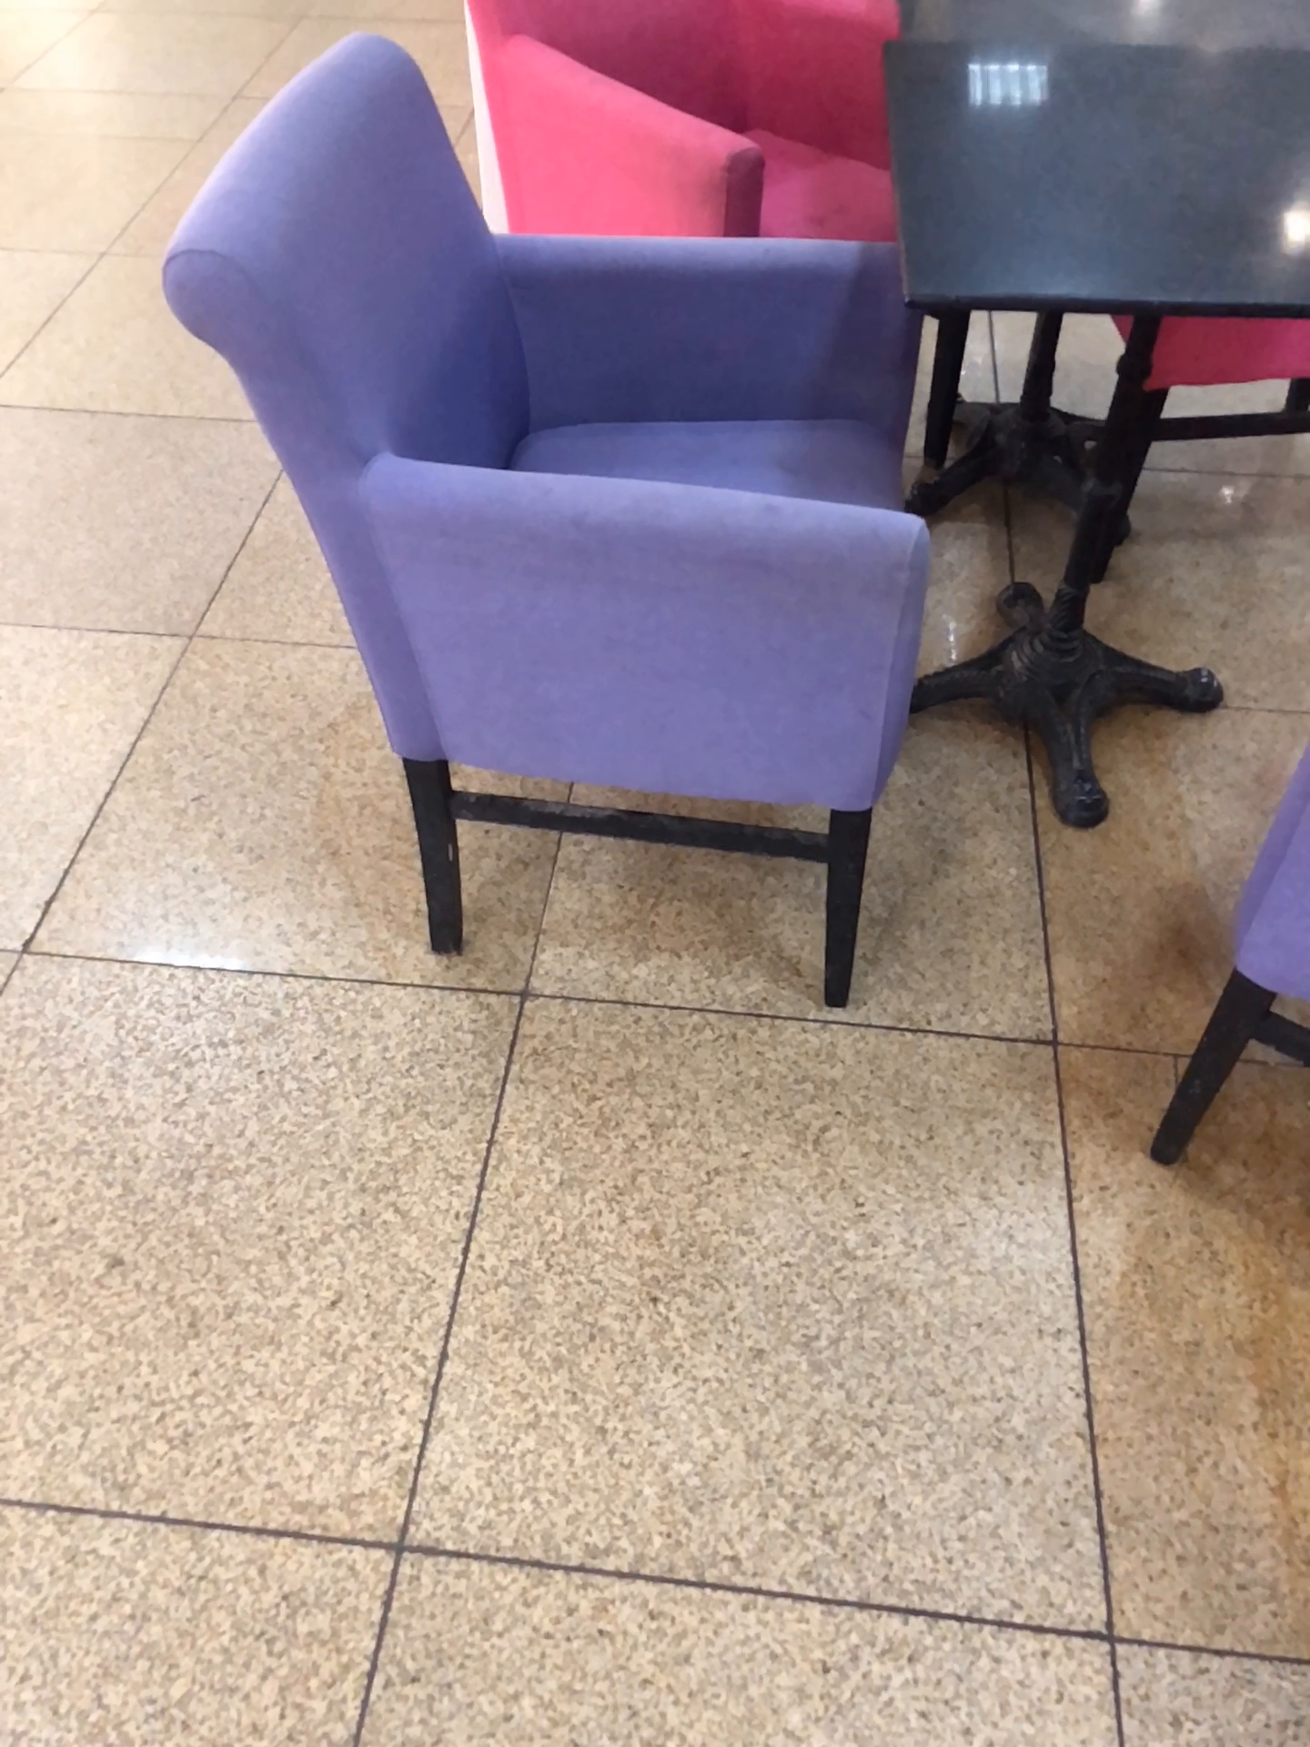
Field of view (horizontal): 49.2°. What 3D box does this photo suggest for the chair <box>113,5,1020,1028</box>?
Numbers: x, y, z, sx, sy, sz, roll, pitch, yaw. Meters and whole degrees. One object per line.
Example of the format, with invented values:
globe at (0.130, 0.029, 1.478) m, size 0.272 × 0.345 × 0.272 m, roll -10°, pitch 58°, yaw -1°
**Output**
chair at (-0.029, -0.352, 1.512) m, size 0.660 × 0.817 × 0.572 m, roll 7°, pitch 48°, yaw 6°
